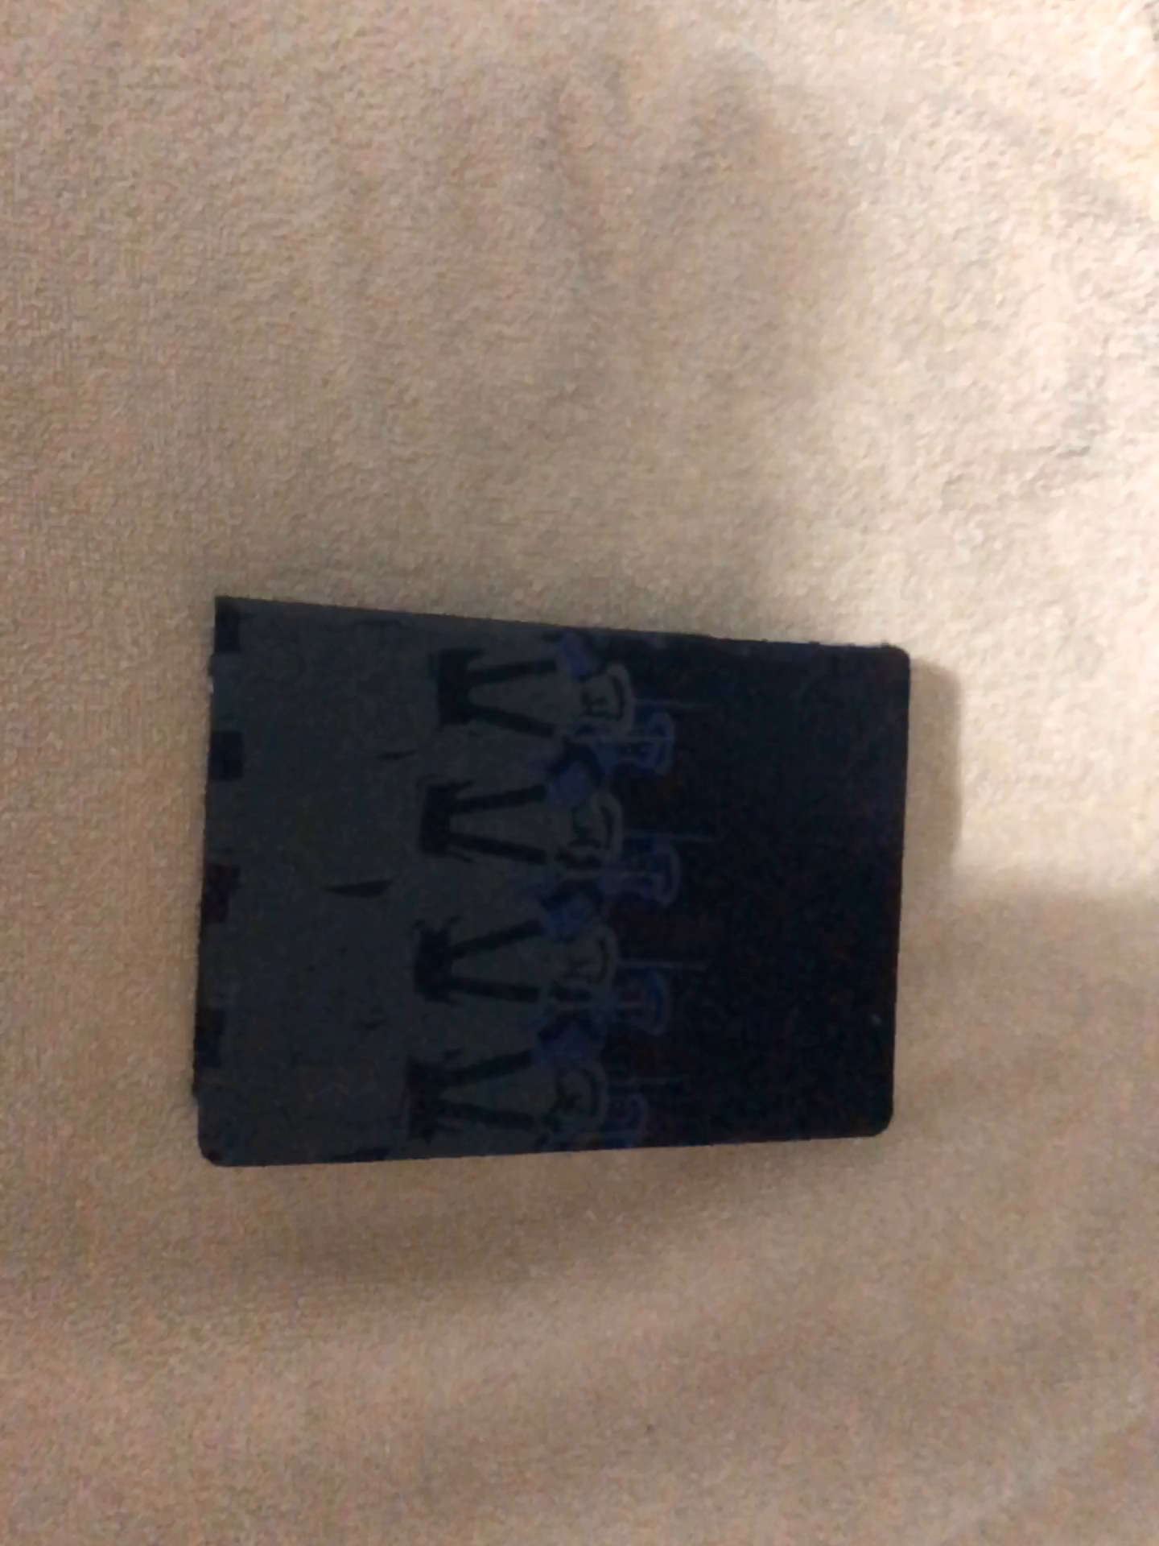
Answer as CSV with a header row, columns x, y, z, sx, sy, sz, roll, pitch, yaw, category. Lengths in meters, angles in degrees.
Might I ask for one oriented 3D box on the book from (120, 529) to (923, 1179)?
x,y,z,sx,sy,sz,roll,pitch,yaw,category
-0.012,0.021,0.329,0.190,0.050,0.140,2,90,-17,book
